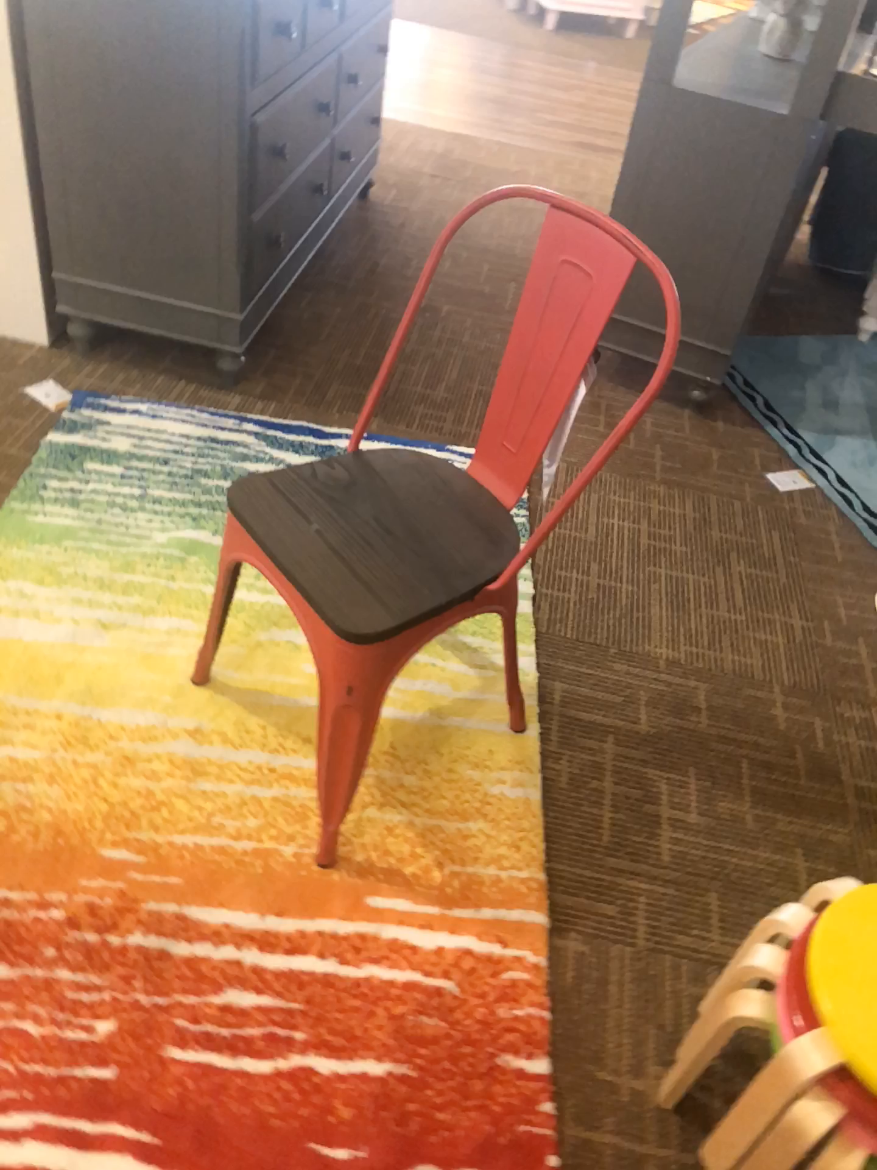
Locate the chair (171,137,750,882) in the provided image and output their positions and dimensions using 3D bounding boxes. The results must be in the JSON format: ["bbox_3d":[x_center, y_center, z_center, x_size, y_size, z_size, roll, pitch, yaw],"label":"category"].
[{"bbox_3d":[-0.040,-0.096,1.357,0.491,0.856,0.451,-19,49,-31],"label":"chair"}]
